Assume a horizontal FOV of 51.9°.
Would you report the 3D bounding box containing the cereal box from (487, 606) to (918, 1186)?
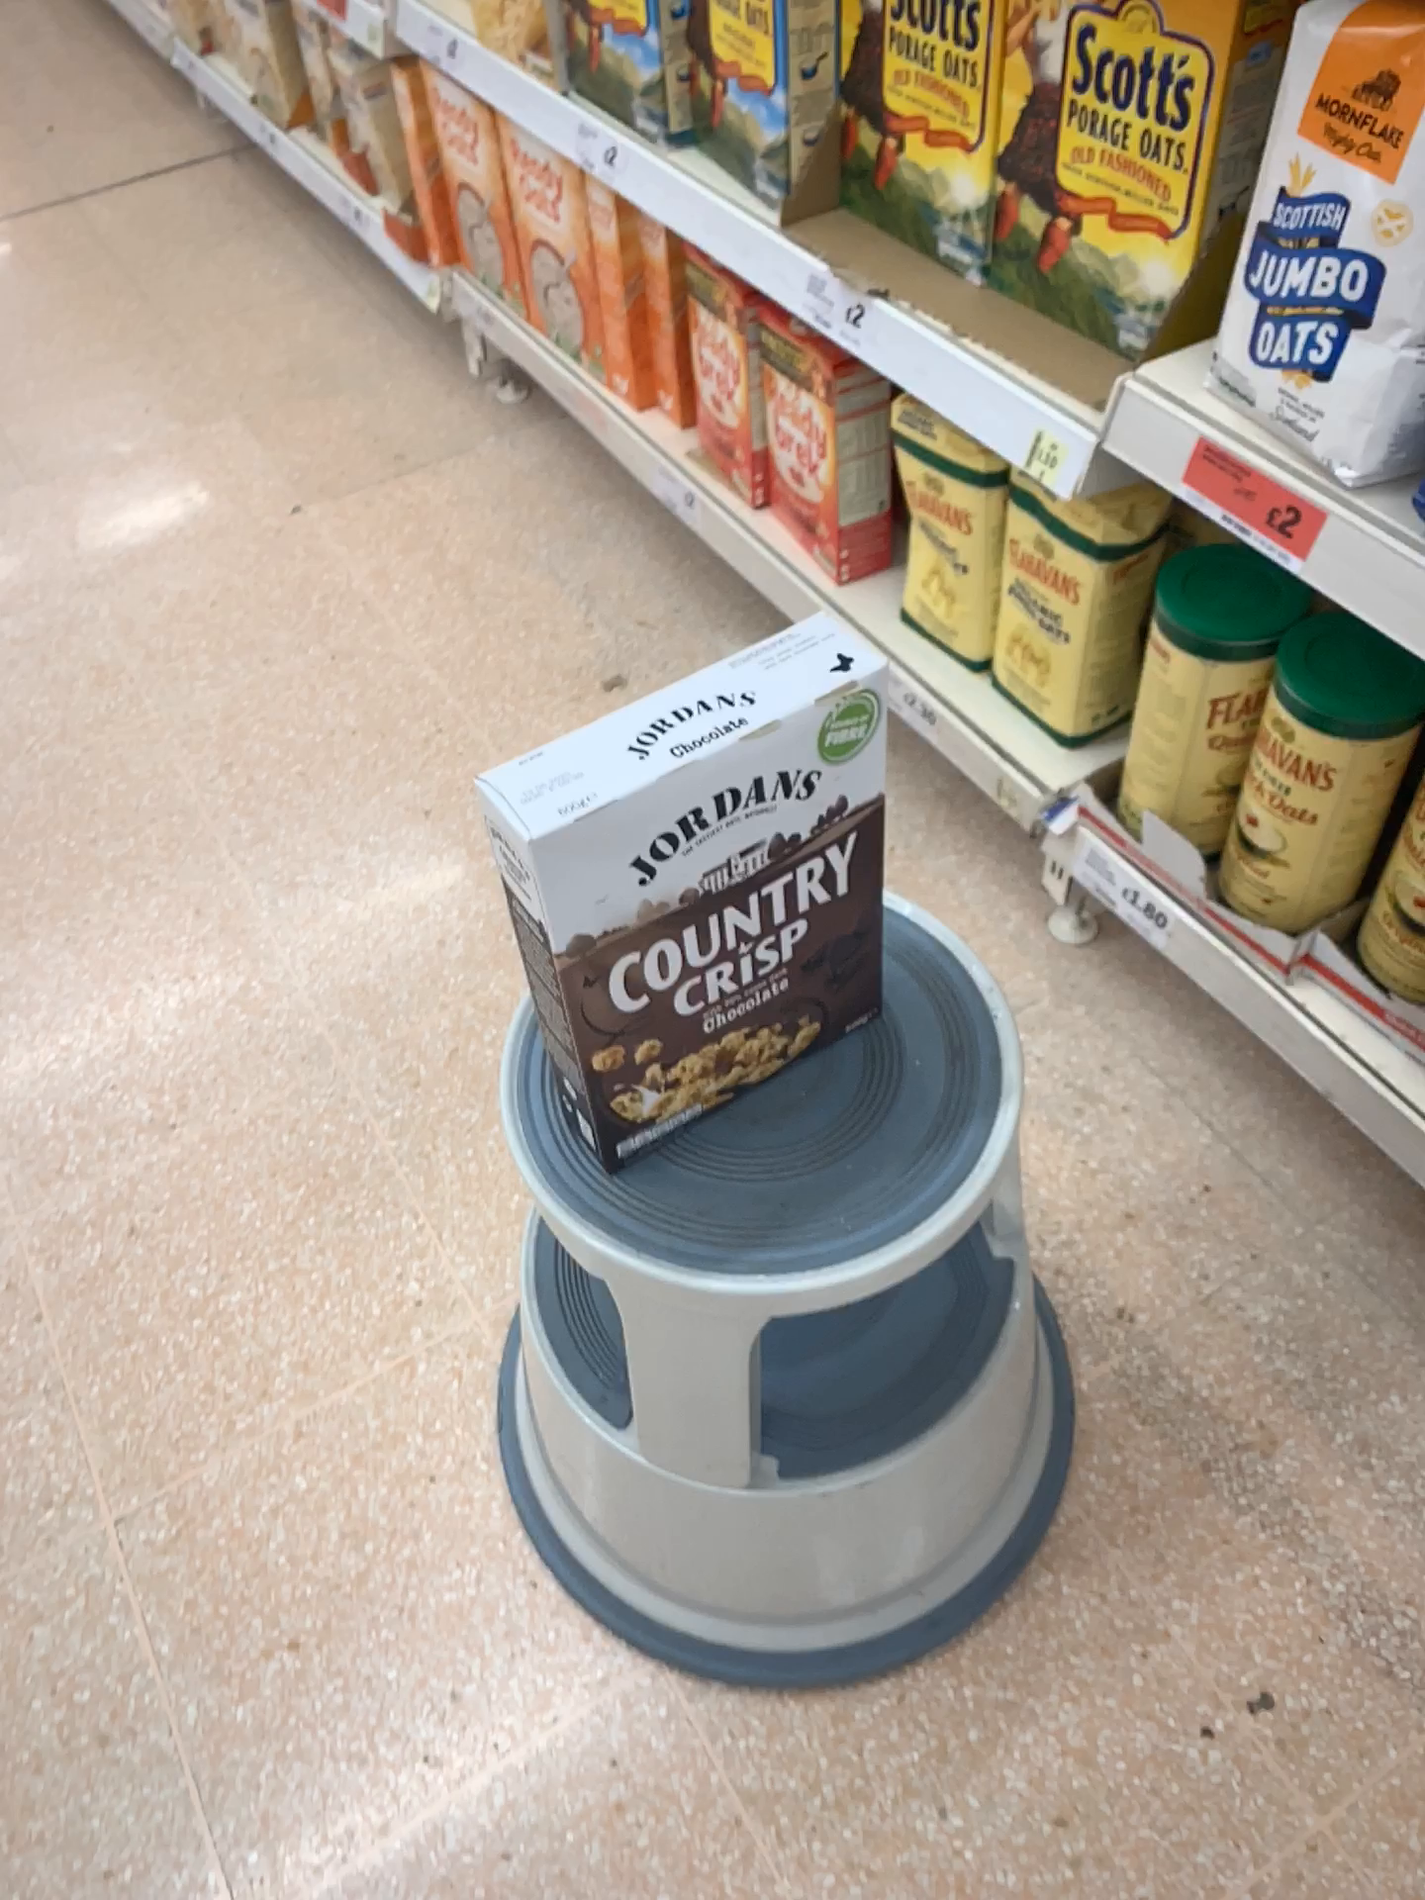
[{"bbox_3d":[0.005,-0.016,0.698,0.180,0.248,0.050,-29,54,-19],"label":"cereal box"}]
